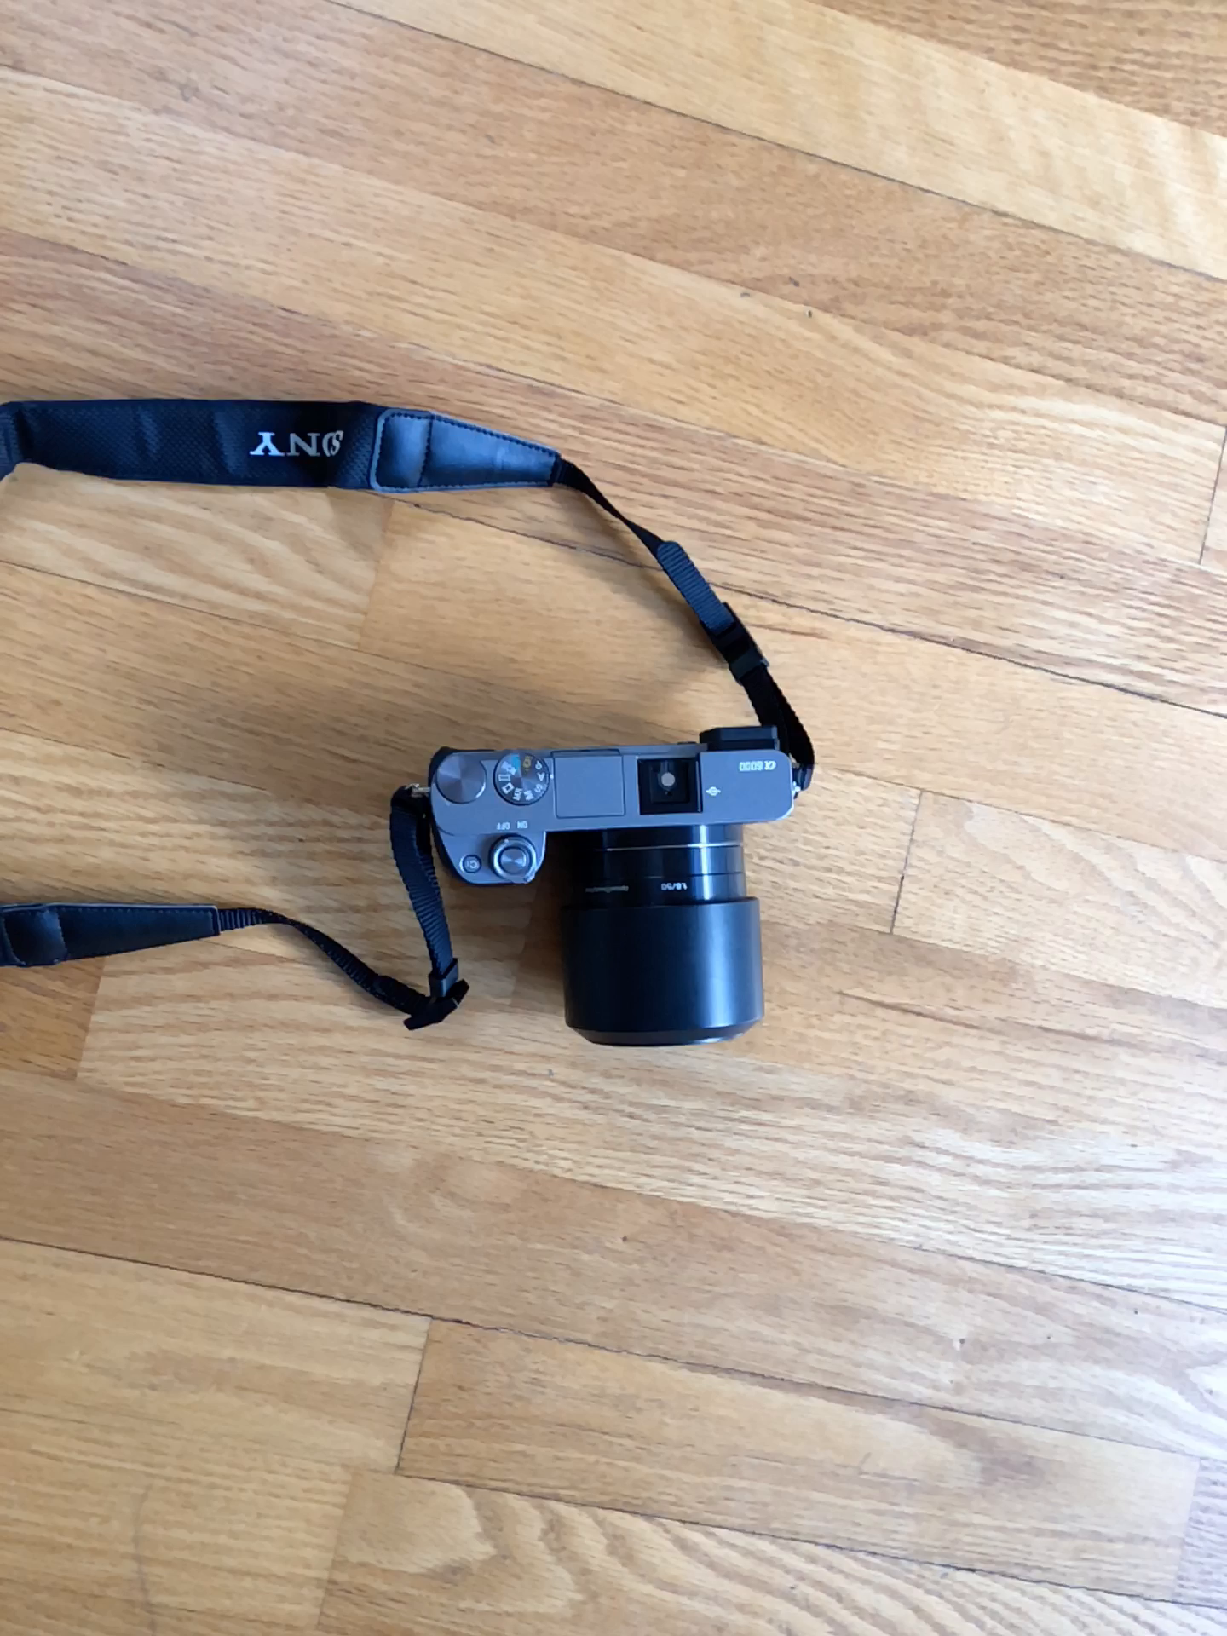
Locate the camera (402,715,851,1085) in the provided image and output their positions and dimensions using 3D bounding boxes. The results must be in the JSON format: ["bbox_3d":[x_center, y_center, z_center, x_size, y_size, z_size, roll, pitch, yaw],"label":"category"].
[{"bbox_3d":[0.001,0.026,0.465,0.140,0.060,0.110,-3,89,-8],"label":"camera"}]
